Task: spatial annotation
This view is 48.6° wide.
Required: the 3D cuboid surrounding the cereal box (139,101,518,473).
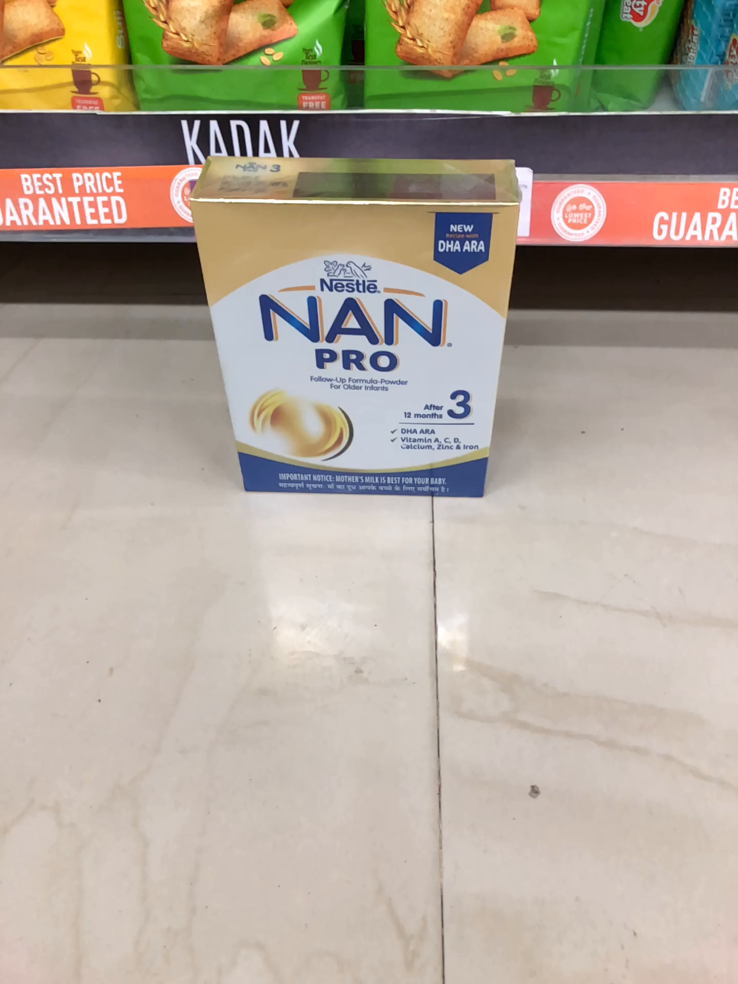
[{"bbox_3d":[-0.017,-0.096,0.430,0.160,0.189,0.050,2,47,1],"label":"cereal box"}]
